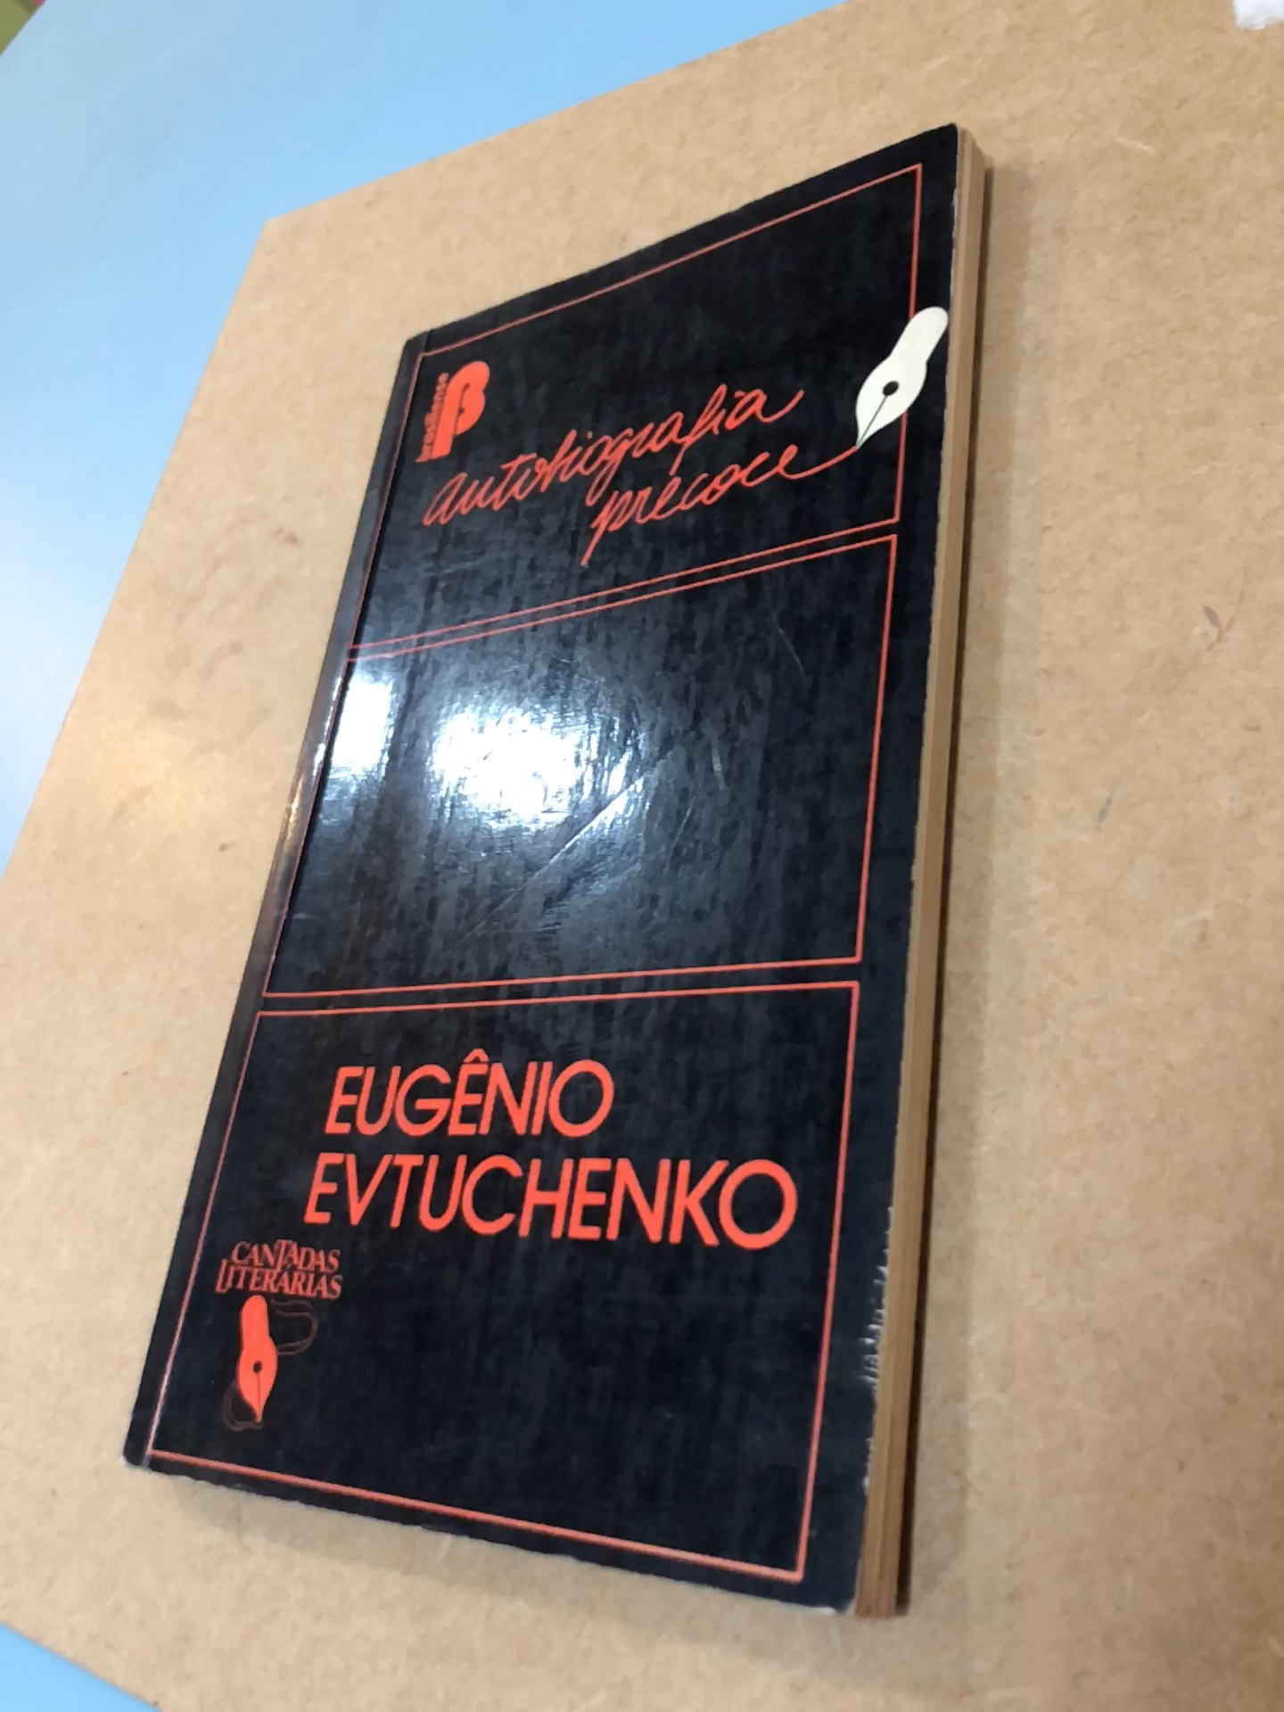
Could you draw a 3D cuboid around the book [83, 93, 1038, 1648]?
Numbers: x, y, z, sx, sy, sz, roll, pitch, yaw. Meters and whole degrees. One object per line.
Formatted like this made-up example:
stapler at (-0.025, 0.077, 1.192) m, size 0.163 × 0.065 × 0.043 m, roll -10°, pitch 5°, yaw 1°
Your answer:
book at (-0.008, -0.010, 0.198) m, size 0.114 × 0.016 × 0.190 m, roll -7°, pitch 63°, yaw 34°
